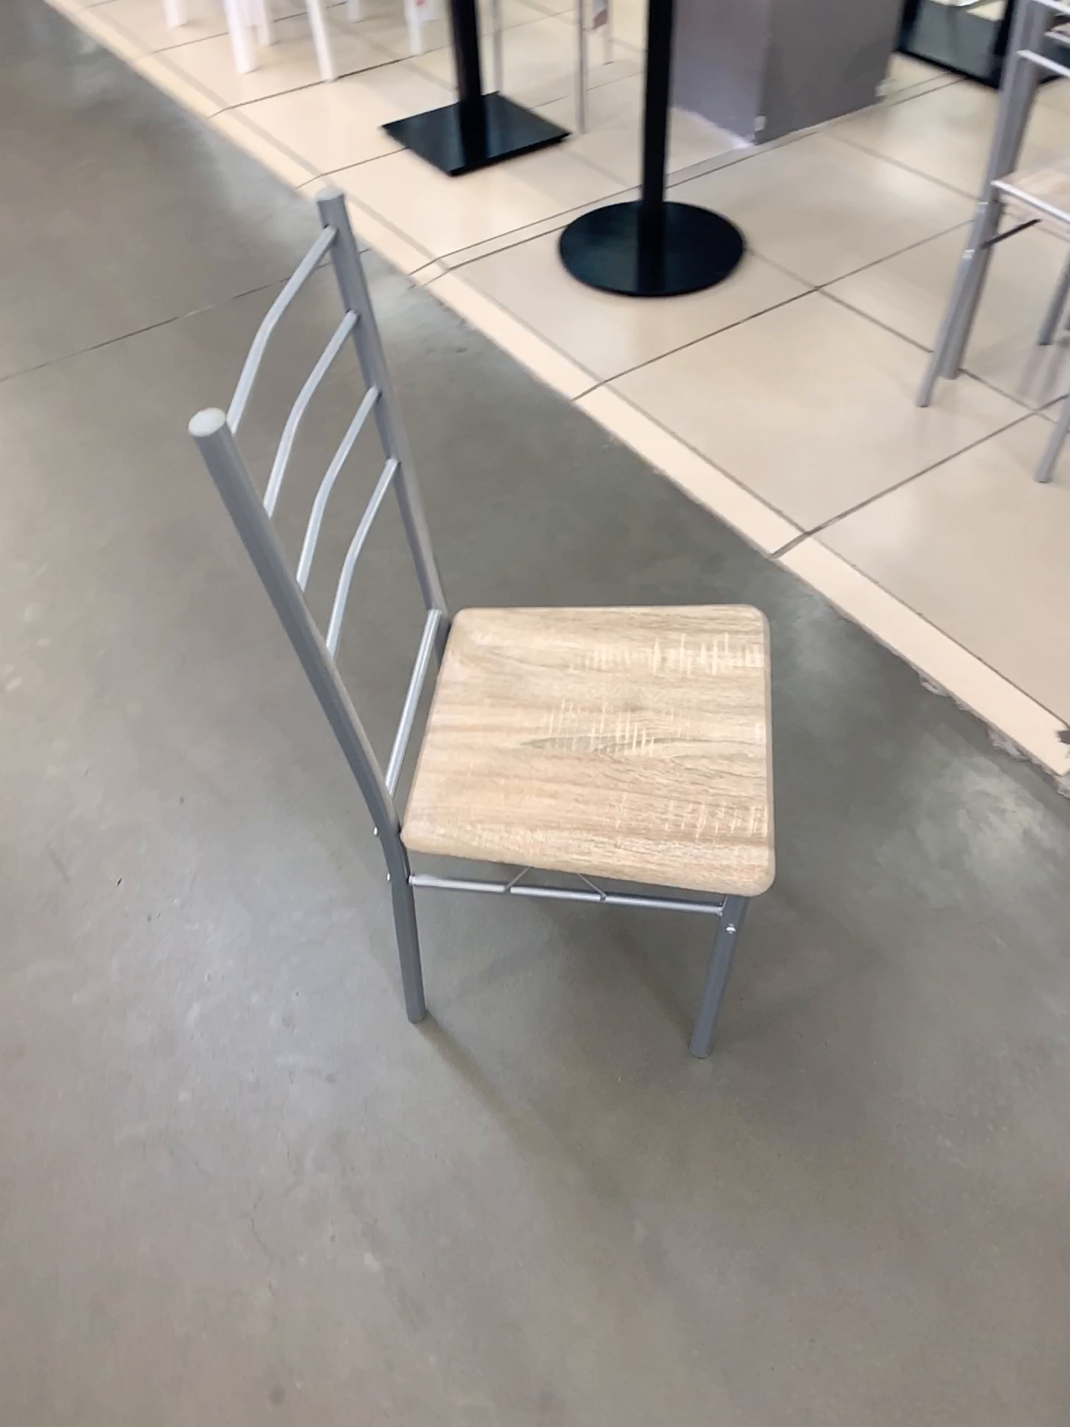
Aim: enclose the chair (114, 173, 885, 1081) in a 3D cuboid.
[{"bbox_3d":[0.012,-0.024,1.102,0.470,0.837,0.412,5,49,7],"label":"chair"}]
